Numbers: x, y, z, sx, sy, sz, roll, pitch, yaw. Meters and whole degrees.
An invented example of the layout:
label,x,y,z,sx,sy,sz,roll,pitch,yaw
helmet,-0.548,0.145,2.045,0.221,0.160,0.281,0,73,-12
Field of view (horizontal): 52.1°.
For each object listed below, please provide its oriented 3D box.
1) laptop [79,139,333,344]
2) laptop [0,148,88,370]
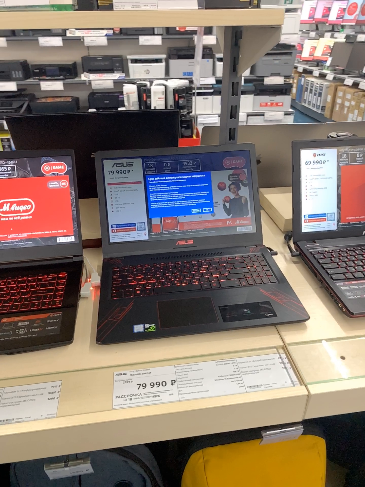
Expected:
label,x,y,z,sx,sy,sz,roll,pitch,yaw
laptop,0.014,-0.040,0.740,0.365,0.199,0.384,-5,32,-6
laptop,-0.374,-0.009,0.682,0.338,0.209,0.355,-4,31,-8
